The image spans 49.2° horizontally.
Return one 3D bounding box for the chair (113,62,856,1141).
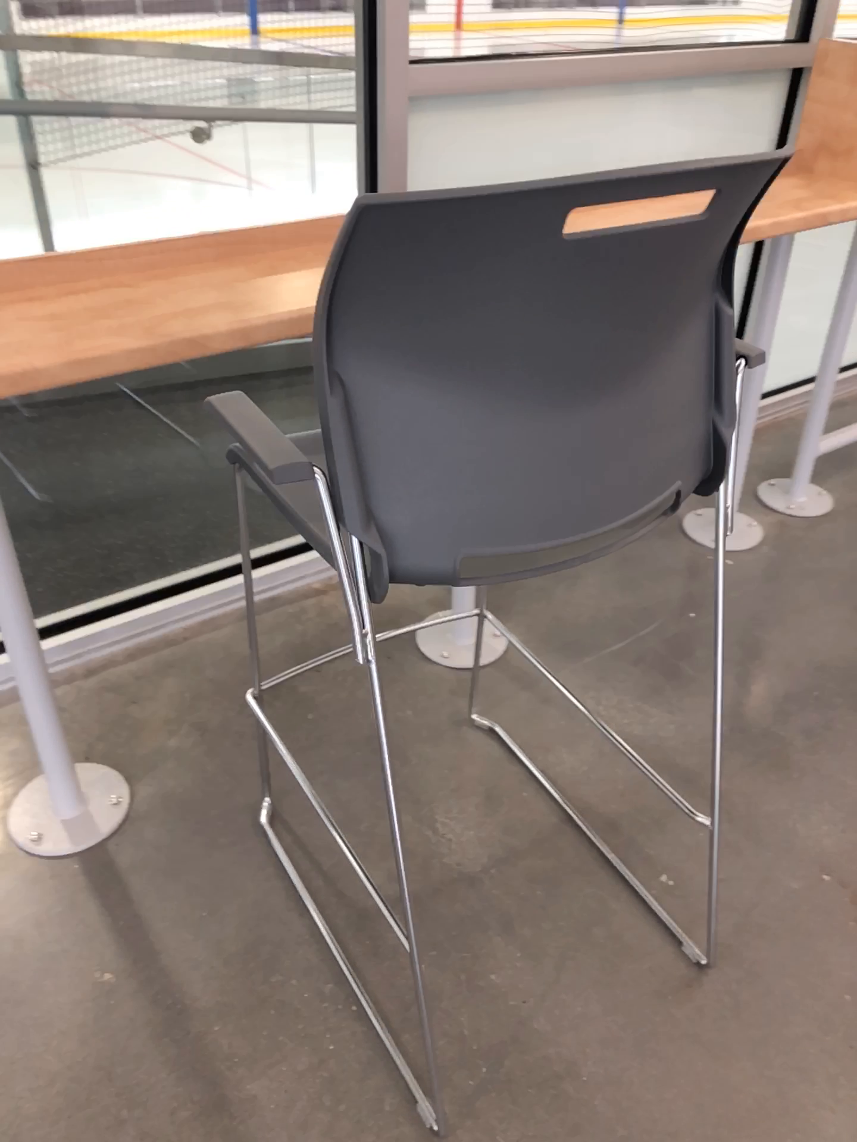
[{"bbox_3d":[0.085,0.008,1.186,0.601,1.072,0.664,-18,39,-28],"label":"chair"}]
